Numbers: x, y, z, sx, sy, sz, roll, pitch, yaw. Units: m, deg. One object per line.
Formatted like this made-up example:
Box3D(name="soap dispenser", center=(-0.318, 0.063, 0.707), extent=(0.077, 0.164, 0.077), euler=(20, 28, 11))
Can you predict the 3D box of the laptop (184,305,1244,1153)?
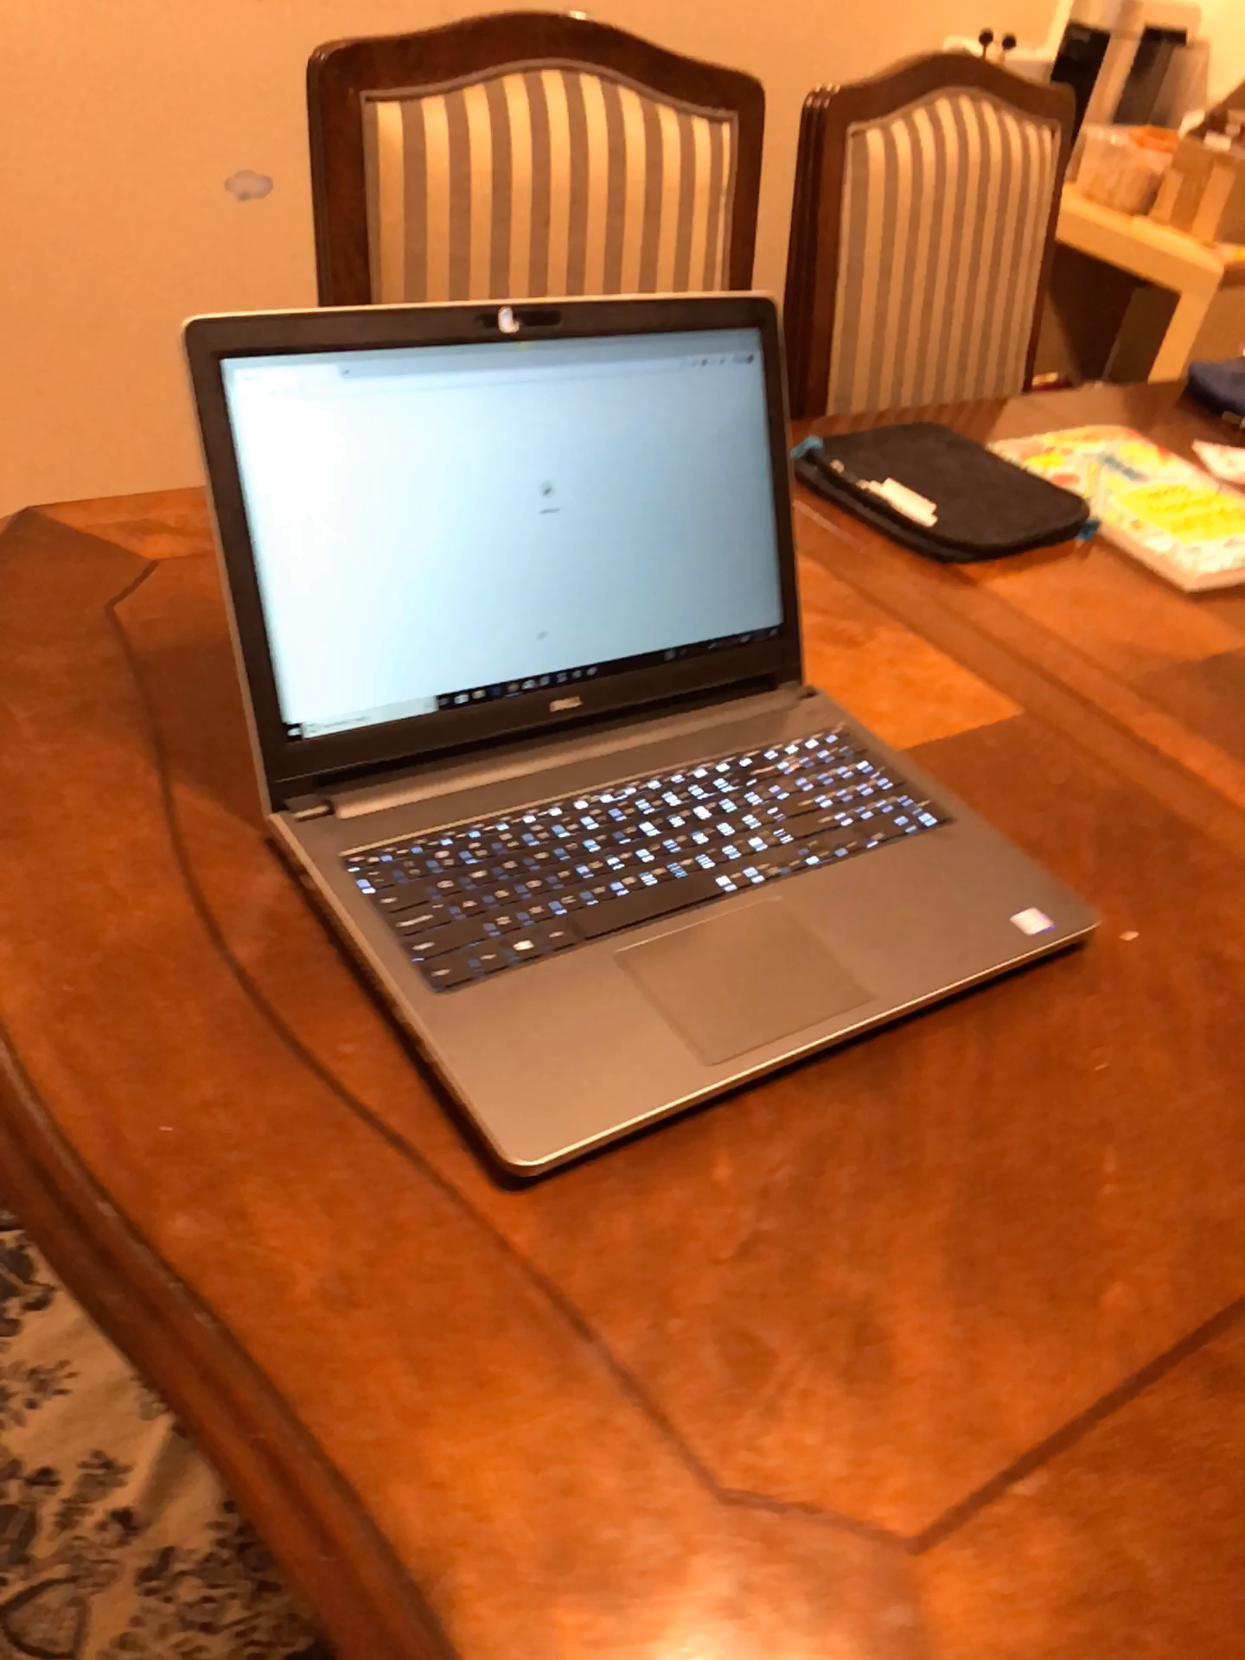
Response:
Box3D(name="laptop", center=(0.022, -0.096, 0.703), extent=(0.370, 0.212, 0.361), euler=(-15, 45, -31))
